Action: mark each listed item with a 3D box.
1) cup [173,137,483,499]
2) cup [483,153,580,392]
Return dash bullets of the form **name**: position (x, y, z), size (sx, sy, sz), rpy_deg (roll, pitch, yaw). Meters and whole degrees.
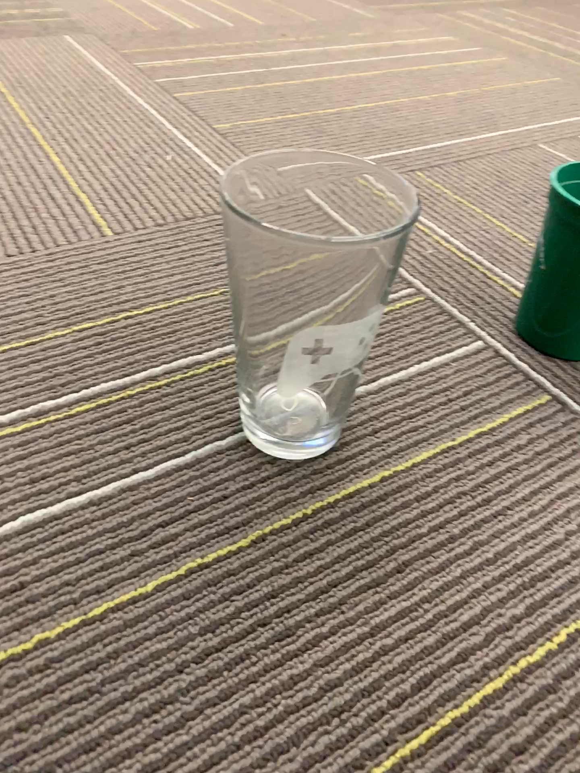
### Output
- **cup**: position (0.012, -0.035, 0.284), size (0.090, 0.119, 0.090), rpy_deg (3, 43, -2)
- **cup**: position (0.196, -0.075, 0.390), size (0.070, 0.119, 0.080), rpy_deg (-15, 46, -20)
